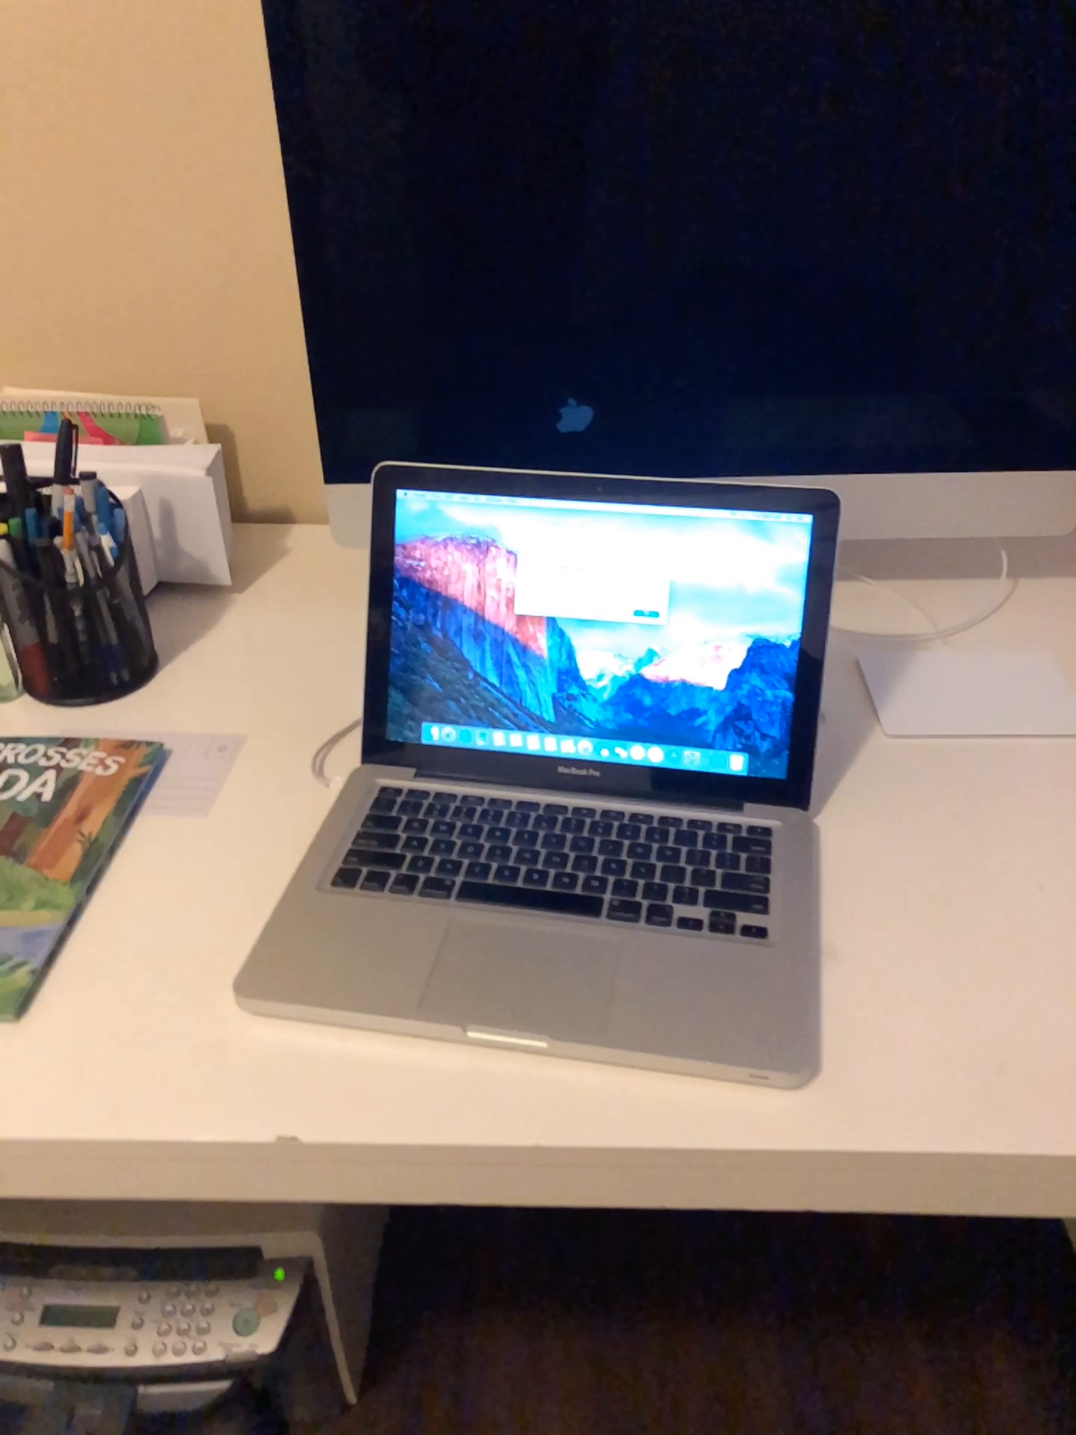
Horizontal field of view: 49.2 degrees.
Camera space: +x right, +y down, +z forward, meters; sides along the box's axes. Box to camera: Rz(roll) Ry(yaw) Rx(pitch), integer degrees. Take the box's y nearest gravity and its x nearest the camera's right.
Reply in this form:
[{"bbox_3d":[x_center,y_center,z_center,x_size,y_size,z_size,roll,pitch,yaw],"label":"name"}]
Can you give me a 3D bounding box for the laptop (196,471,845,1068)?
[{"bbox_3d":[0.017,0.005,0.714,0.302,0.187,0.314,5,34,10],"label":"laptop"}]
